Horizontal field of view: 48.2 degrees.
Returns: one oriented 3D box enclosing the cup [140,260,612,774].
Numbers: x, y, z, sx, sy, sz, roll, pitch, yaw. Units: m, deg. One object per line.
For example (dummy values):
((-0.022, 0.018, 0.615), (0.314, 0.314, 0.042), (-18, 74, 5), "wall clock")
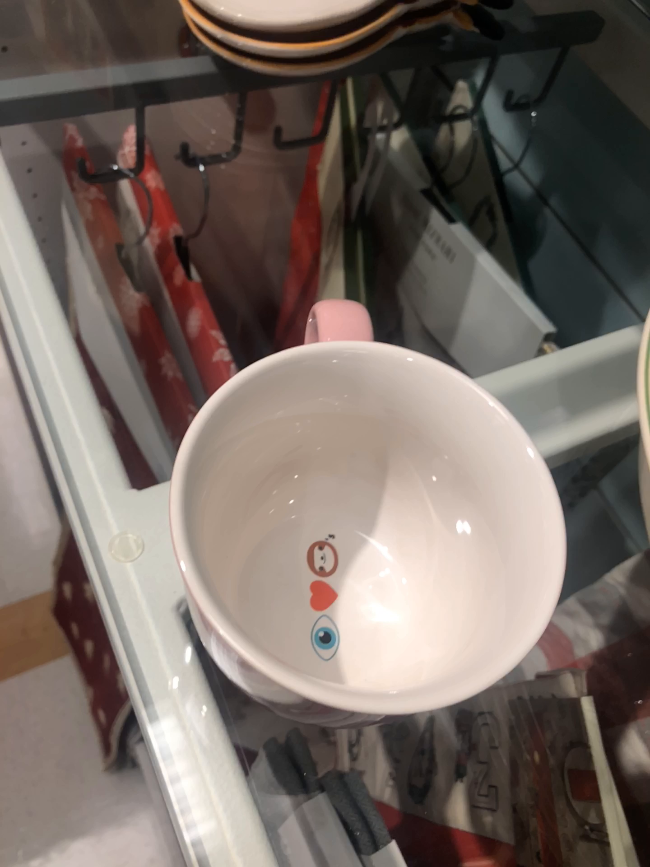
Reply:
((0.001, 0.026, 0.236), (0.112, 0.085, 0.136), (0, 59, -11), "cup")
